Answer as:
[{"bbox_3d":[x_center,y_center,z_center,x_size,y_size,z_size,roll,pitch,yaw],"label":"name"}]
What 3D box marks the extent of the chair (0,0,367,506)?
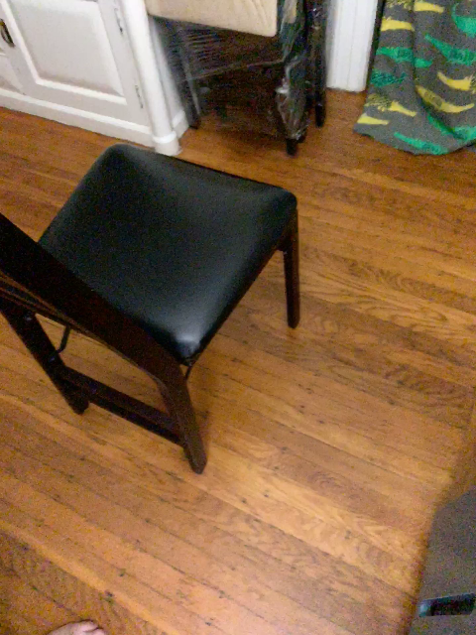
[{"bbox_3d":[-0.173,-0.154,0.801,0.491,0.867,0.551,19,61,17],"label":"chair"}]
